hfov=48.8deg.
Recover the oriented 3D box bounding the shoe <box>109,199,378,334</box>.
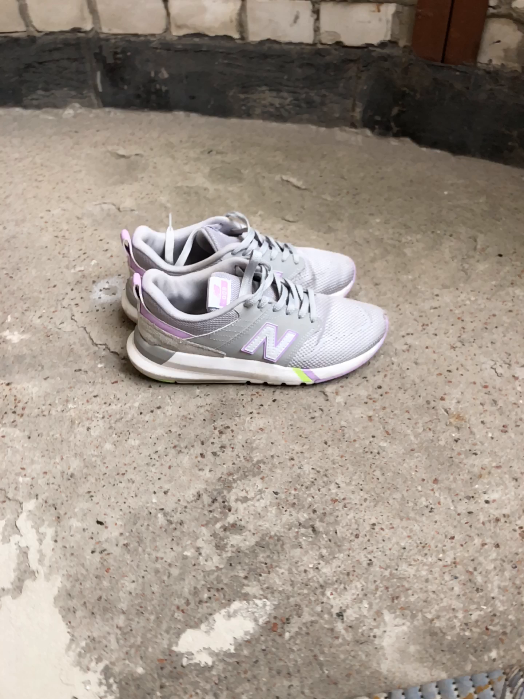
[{"bbox_3d":[-0.025,-0.097,0.651,0.270,0.099,0.111,-3,42,-8],"label":"shoe"}]

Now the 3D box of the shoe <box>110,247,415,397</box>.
[{"bbox_3d":[-0.003,-0.028,0.583,0.270,0.099,0.111,0,42,-5],"label":"shoe"}]
